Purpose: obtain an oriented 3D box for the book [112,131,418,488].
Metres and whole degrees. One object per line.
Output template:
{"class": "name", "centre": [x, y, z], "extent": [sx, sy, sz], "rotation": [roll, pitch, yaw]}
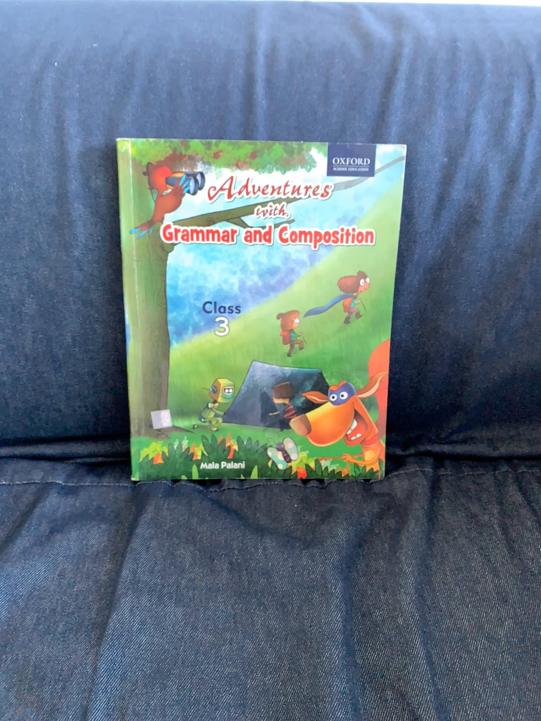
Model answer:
{"class": "book", "centre": [-0.005, -0.031, 0.435], "extent": [0.212, 0.269, 0.030], "rotation": [1, 15, -1]}
